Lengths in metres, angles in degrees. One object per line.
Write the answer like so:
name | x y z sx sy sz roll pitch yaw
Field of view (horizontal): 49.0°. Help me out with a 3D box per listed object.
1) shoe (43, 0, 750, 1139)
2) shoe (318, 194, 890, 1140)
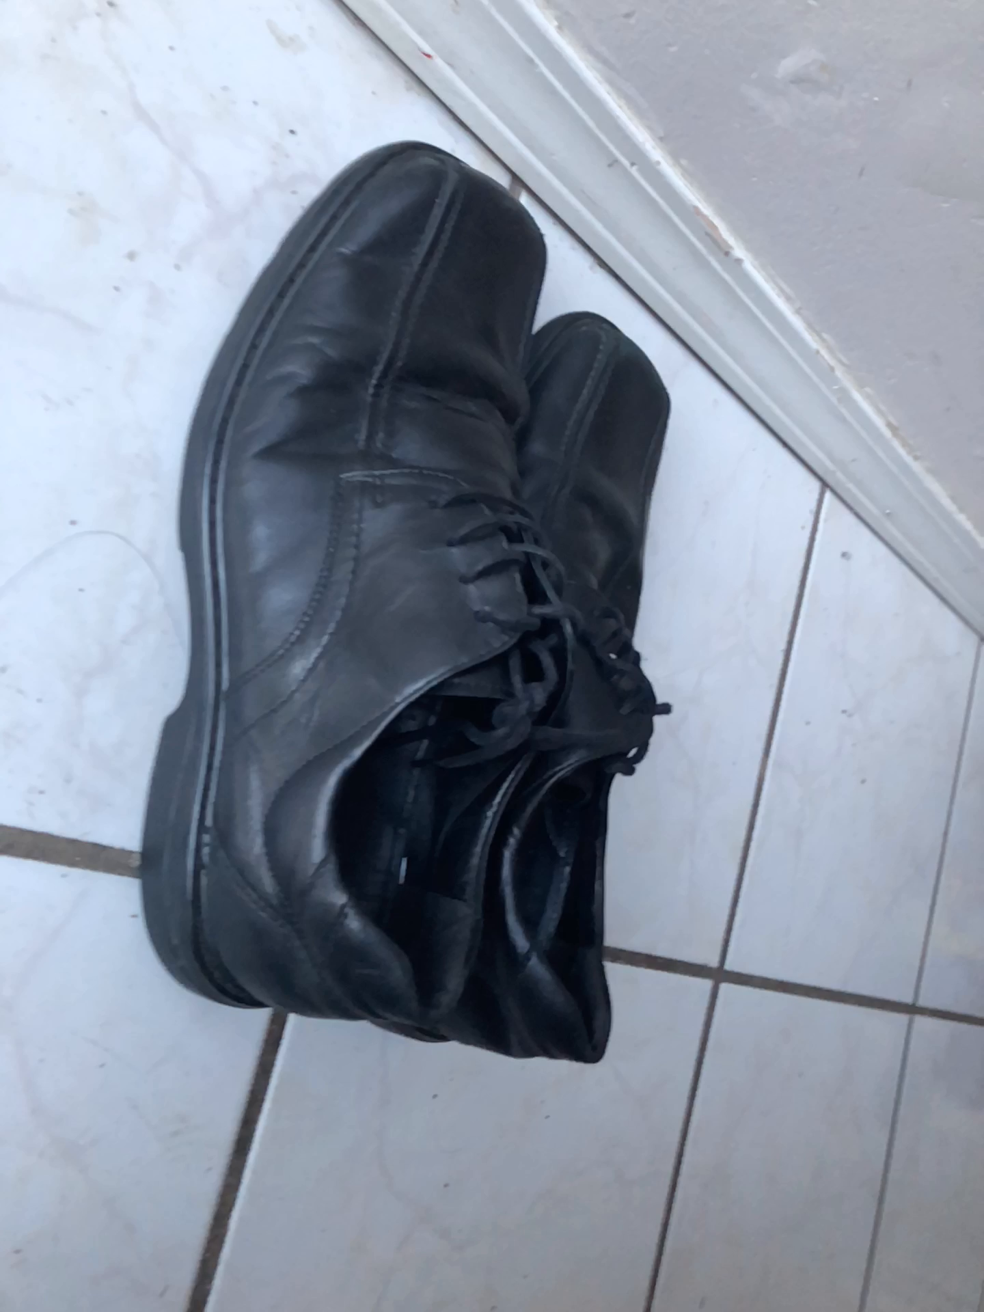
shoe | -0.021 -0.027 0.328 0.120 0.100 0.290 19 81 -46
shoe | 0.048 0.005 0.391 0.110 0.100 0.290 23 77 -46
